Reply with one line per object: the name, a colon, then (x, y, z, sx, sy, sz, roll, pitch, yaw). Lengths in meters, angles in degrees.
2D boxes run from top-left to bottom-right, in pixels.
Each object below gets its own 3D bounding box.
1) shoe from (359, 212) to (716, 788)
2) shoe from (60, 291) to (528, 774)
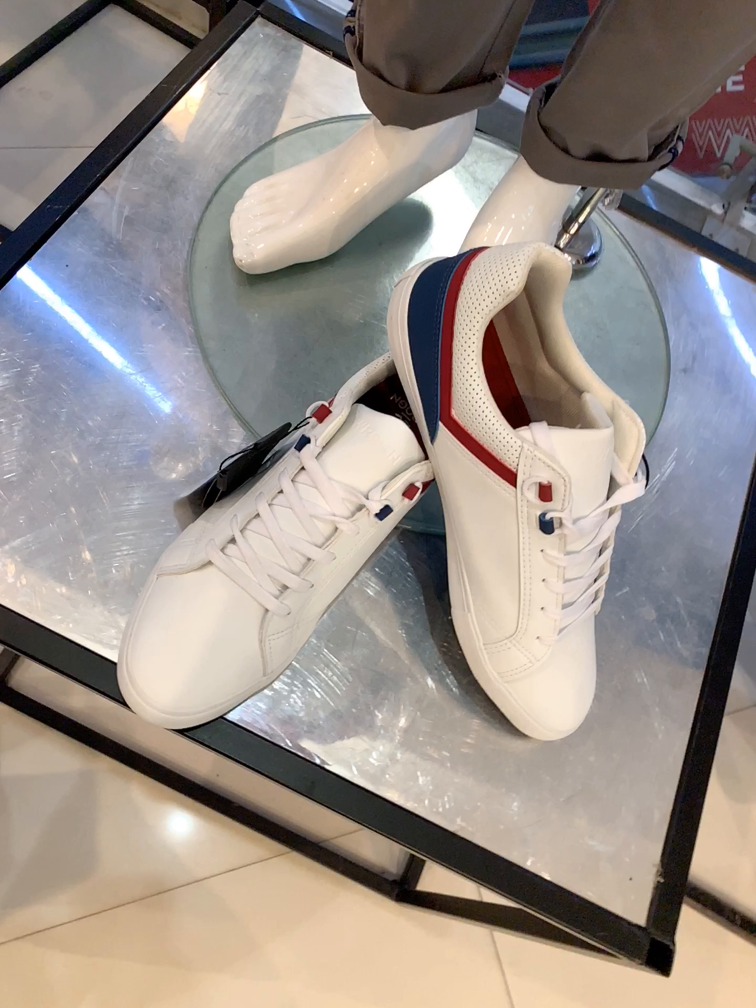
shoe: (0.085, -0.006, 0.437, 0.100, 0.100, 0.280, -12, 89, -28)
shoe: (-0.043, 0.012, 0.469, 0.100, 0.100, 0.281, 43, 65, -3)
